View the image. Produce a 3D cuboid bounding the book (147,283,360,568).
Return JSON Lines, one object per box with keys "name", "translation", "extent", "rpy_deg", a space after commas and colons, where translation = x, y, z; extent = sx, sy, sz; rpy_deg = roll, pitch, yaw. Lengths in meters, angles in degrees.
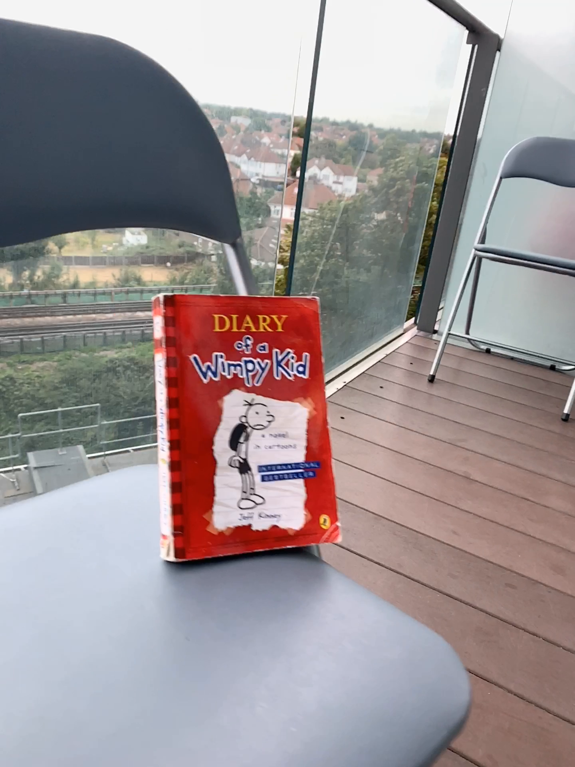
{"name": "book", "translation": [-0.028, 0.027, 0.458], "extent": [0.150, 0.201, 0.040], "rpy_deg": [-1, -8, -18]}
